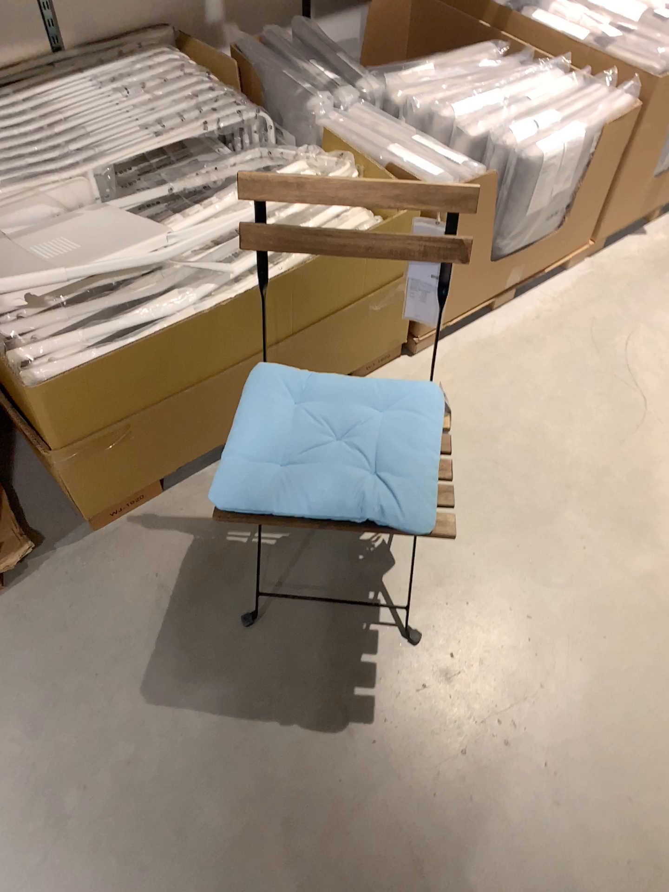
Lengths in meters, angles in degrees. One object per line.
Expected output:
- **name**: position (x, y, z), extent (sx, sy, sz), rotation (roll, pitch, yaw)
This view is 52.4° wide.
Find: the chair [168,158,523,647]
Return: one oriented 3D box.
- **chair**: position (0.024, -0.025, 1.198), extent (0.400, 0.738, 0.461), rotation (4, 52, 2)
